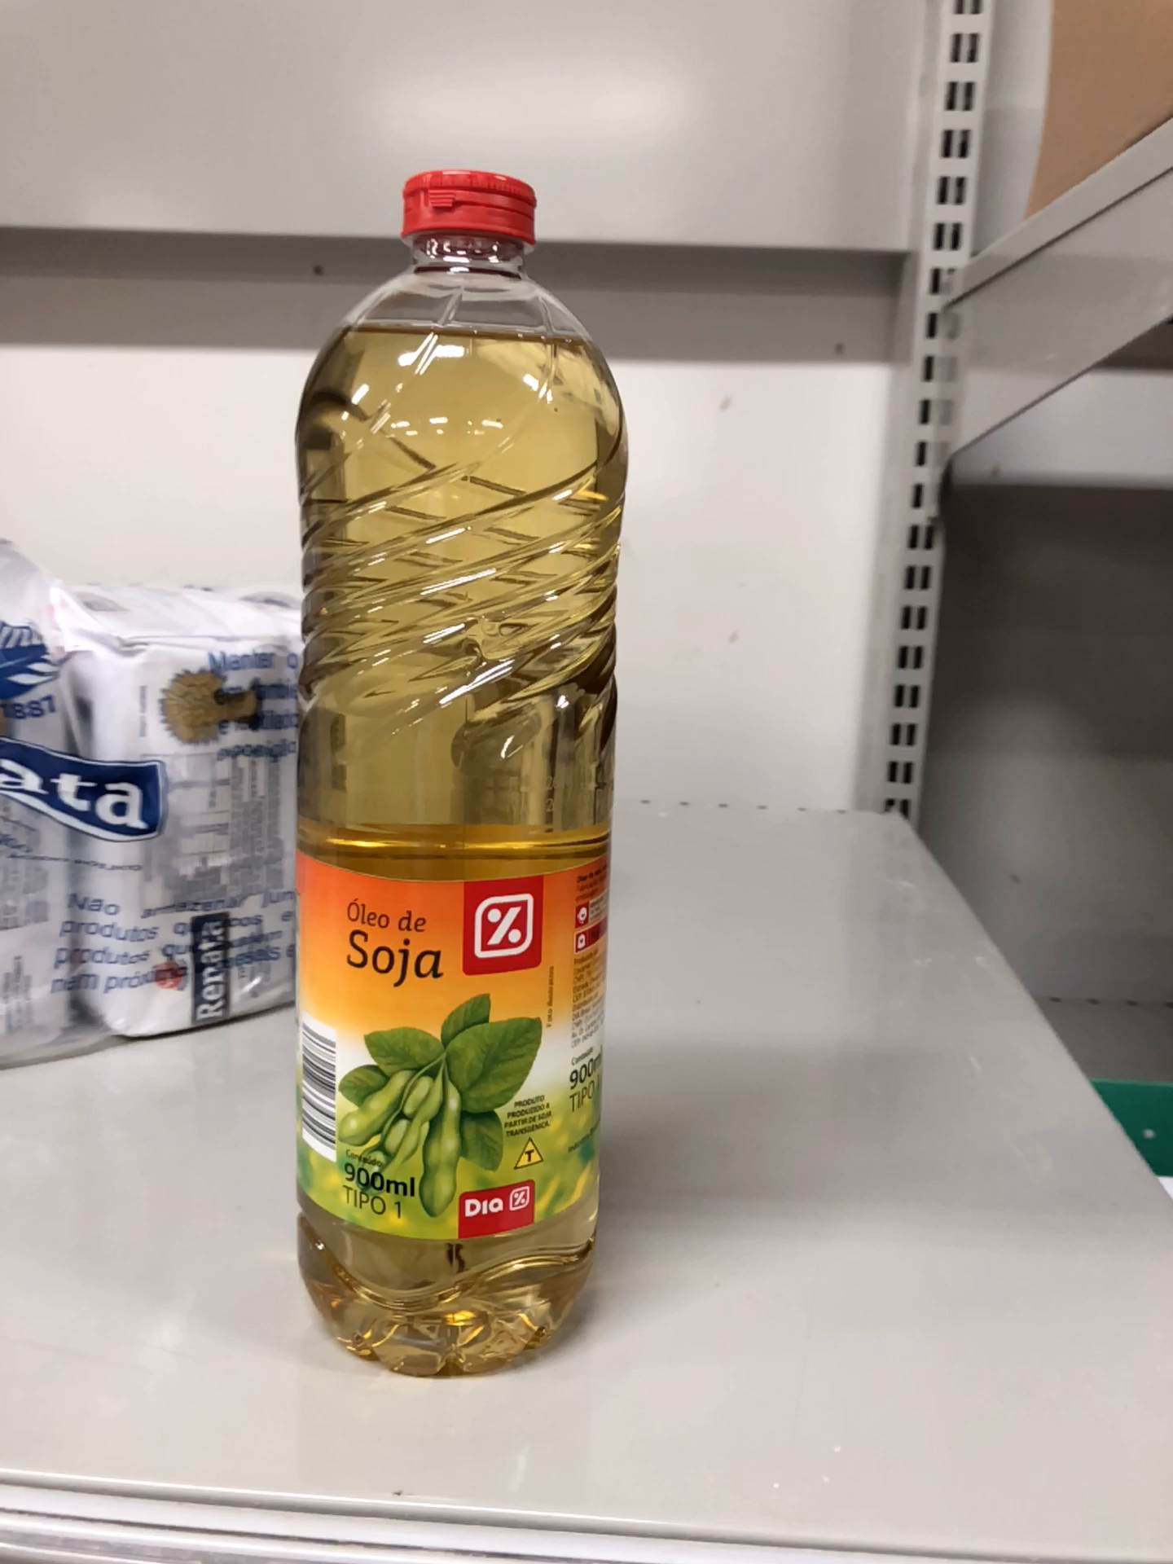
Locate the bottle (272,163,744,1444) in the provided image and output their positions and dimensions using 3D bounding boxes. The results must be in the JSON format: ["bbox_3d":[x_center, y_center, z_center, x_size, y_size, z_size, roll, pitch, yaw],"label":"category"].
[{"bbox_3d":[-0.018,0.006,0.299,0.080,0.259,0.070,6,12,12],"label":"bottle"}]
